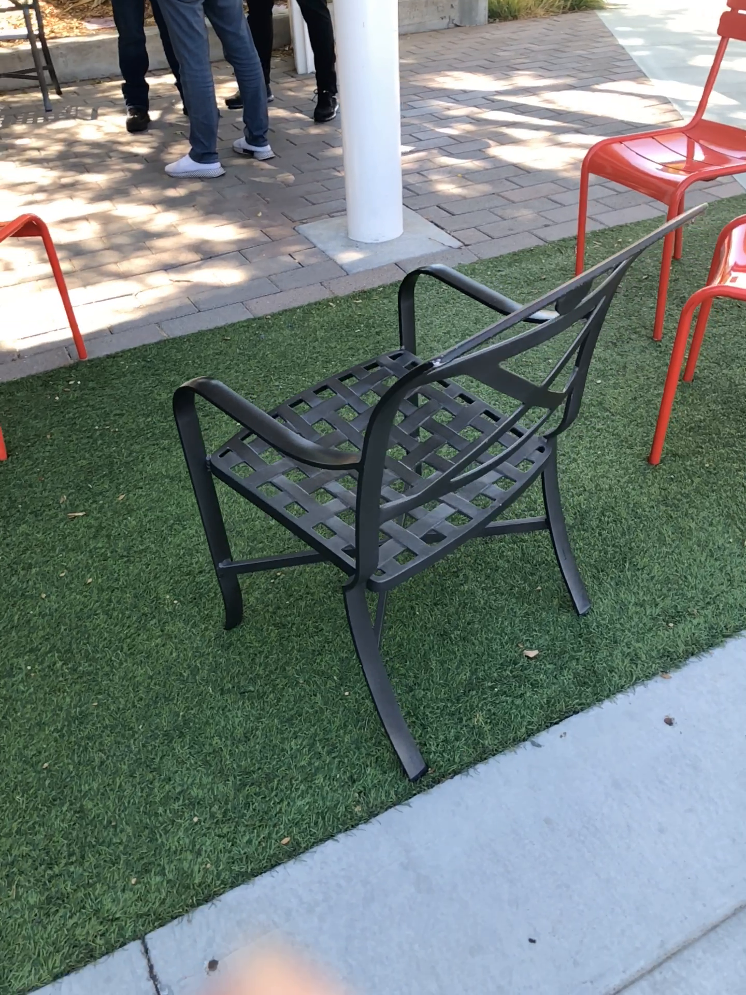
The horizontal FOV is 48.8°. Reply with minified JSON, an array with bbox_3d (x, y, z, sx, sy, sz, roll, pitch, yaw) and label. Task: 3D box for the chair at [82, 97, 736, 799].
[{"bbox_3d":[0.053,-0.124,1.395,0.642,0.806,0.641,31,49,32],"label":"chair"}]
